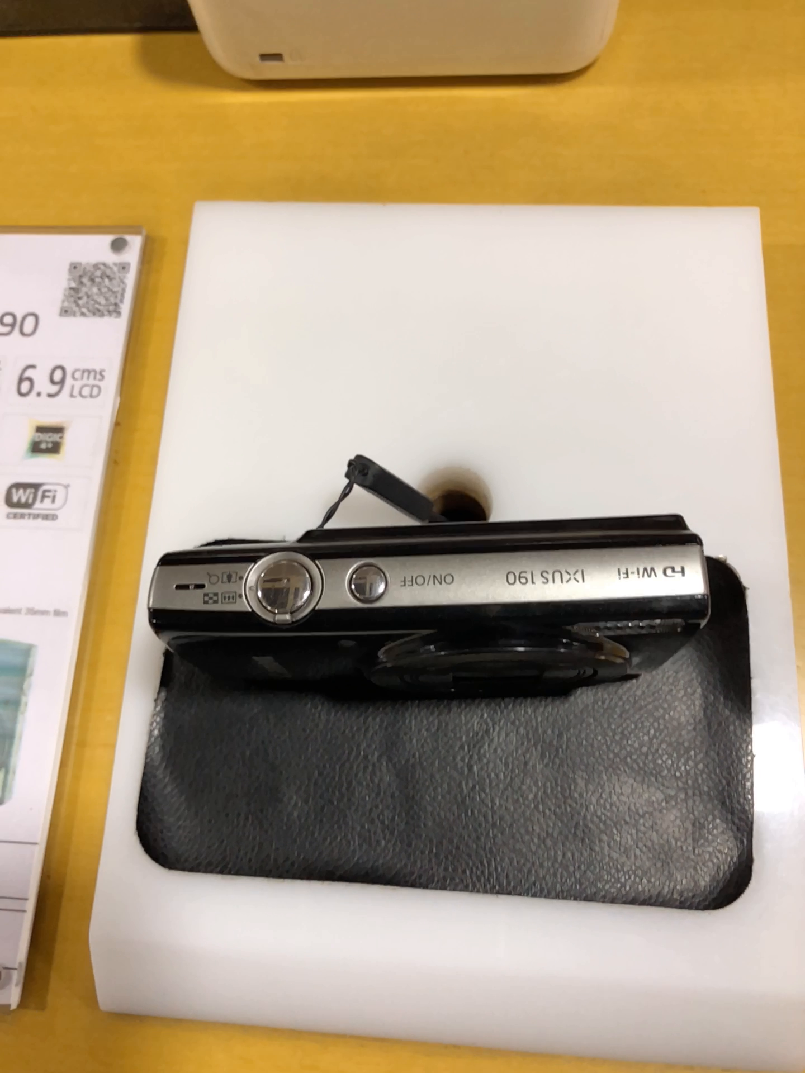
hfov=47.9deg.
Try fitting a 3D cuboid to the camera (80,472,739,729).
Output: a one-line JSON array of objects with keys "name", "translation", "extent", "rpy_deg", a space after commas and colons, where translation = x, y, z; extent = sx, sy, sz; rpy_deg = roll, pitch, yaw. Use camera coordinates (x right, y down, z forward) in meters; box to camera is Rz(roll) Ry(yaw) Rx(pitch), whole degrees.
[{"name": "camera", "translation": [0.001, 0.015, 0.166], "extent": [0.100, 0.050, 0.030], "rpy_deg": [-4, 72, 3]}]
